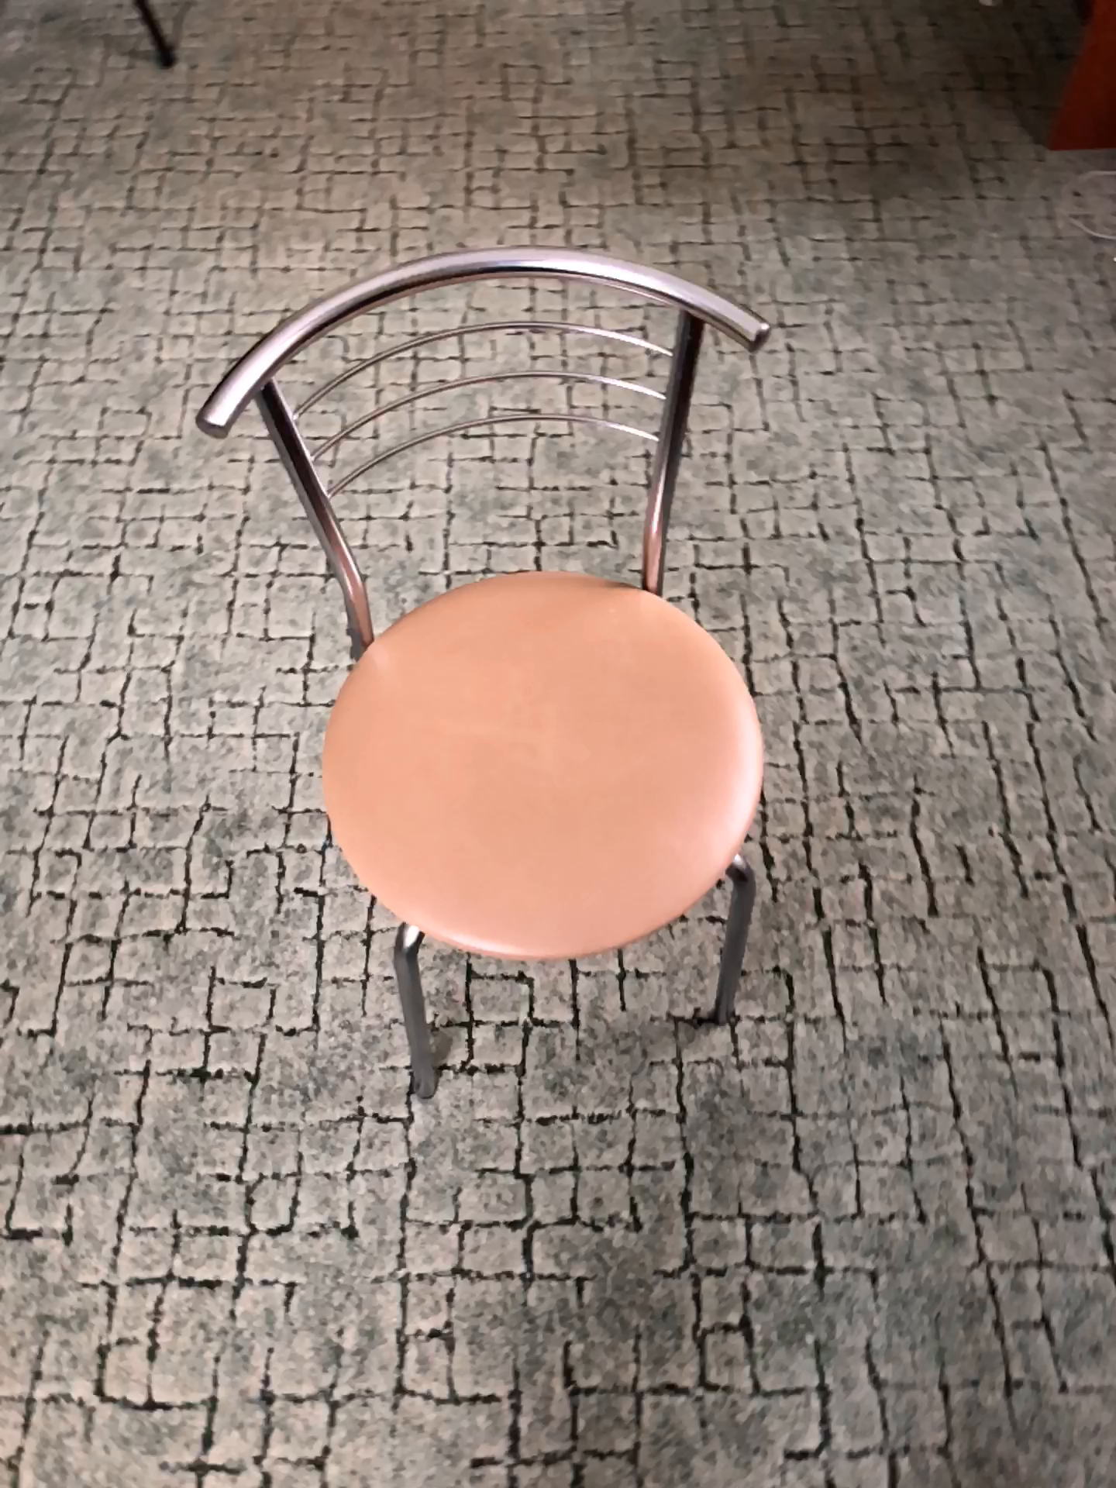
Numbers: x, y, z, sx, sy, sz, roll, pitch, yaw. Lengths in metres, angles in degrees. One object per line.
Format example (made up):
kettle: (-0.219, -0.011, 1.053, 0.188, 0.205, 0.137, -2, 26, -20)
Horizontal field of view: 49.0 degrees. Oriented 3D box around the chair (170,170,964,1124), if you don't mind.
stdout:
chair: (-0.016, -0.012, 1.171, 0.443, 0.805, 0.452, -12, 60, -6)
